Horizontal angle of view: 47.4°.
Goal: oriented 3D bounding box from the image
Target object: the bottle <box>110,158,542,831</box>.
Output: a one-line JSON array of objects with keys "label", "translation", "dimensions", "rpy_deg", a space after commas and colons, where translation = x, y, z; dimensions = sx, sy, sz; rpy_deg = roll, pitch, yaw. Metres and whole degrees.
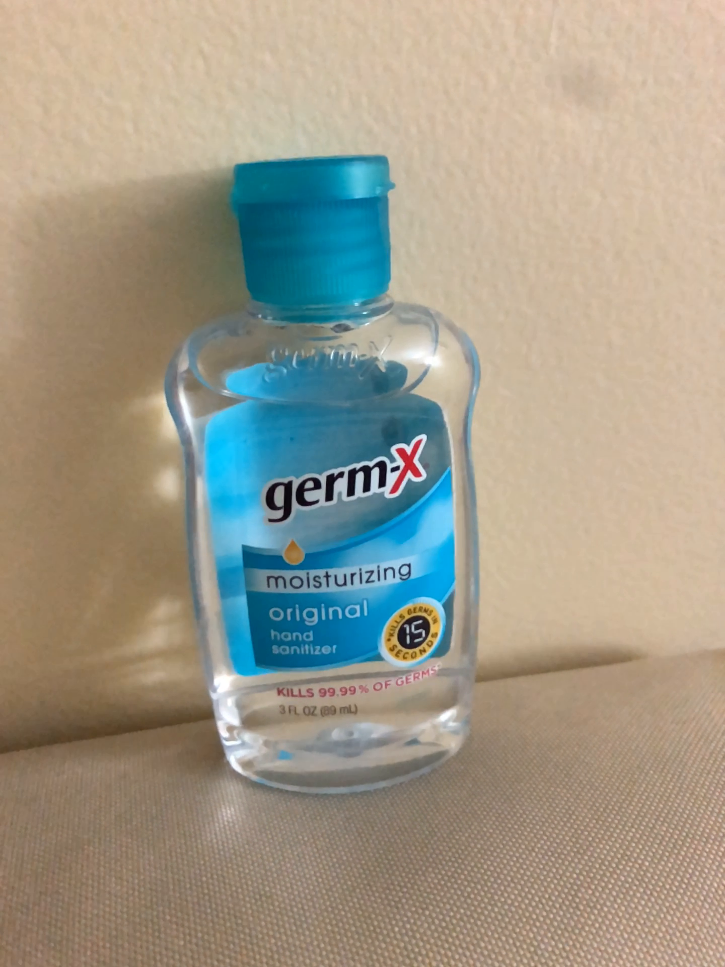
[{"label": "bottle", "translation": [-0.006, 0.002, 0.146], "dimensions": [0.060, 0.110, 0.030], "rpy_deg": [-5, 21, -11]}]
